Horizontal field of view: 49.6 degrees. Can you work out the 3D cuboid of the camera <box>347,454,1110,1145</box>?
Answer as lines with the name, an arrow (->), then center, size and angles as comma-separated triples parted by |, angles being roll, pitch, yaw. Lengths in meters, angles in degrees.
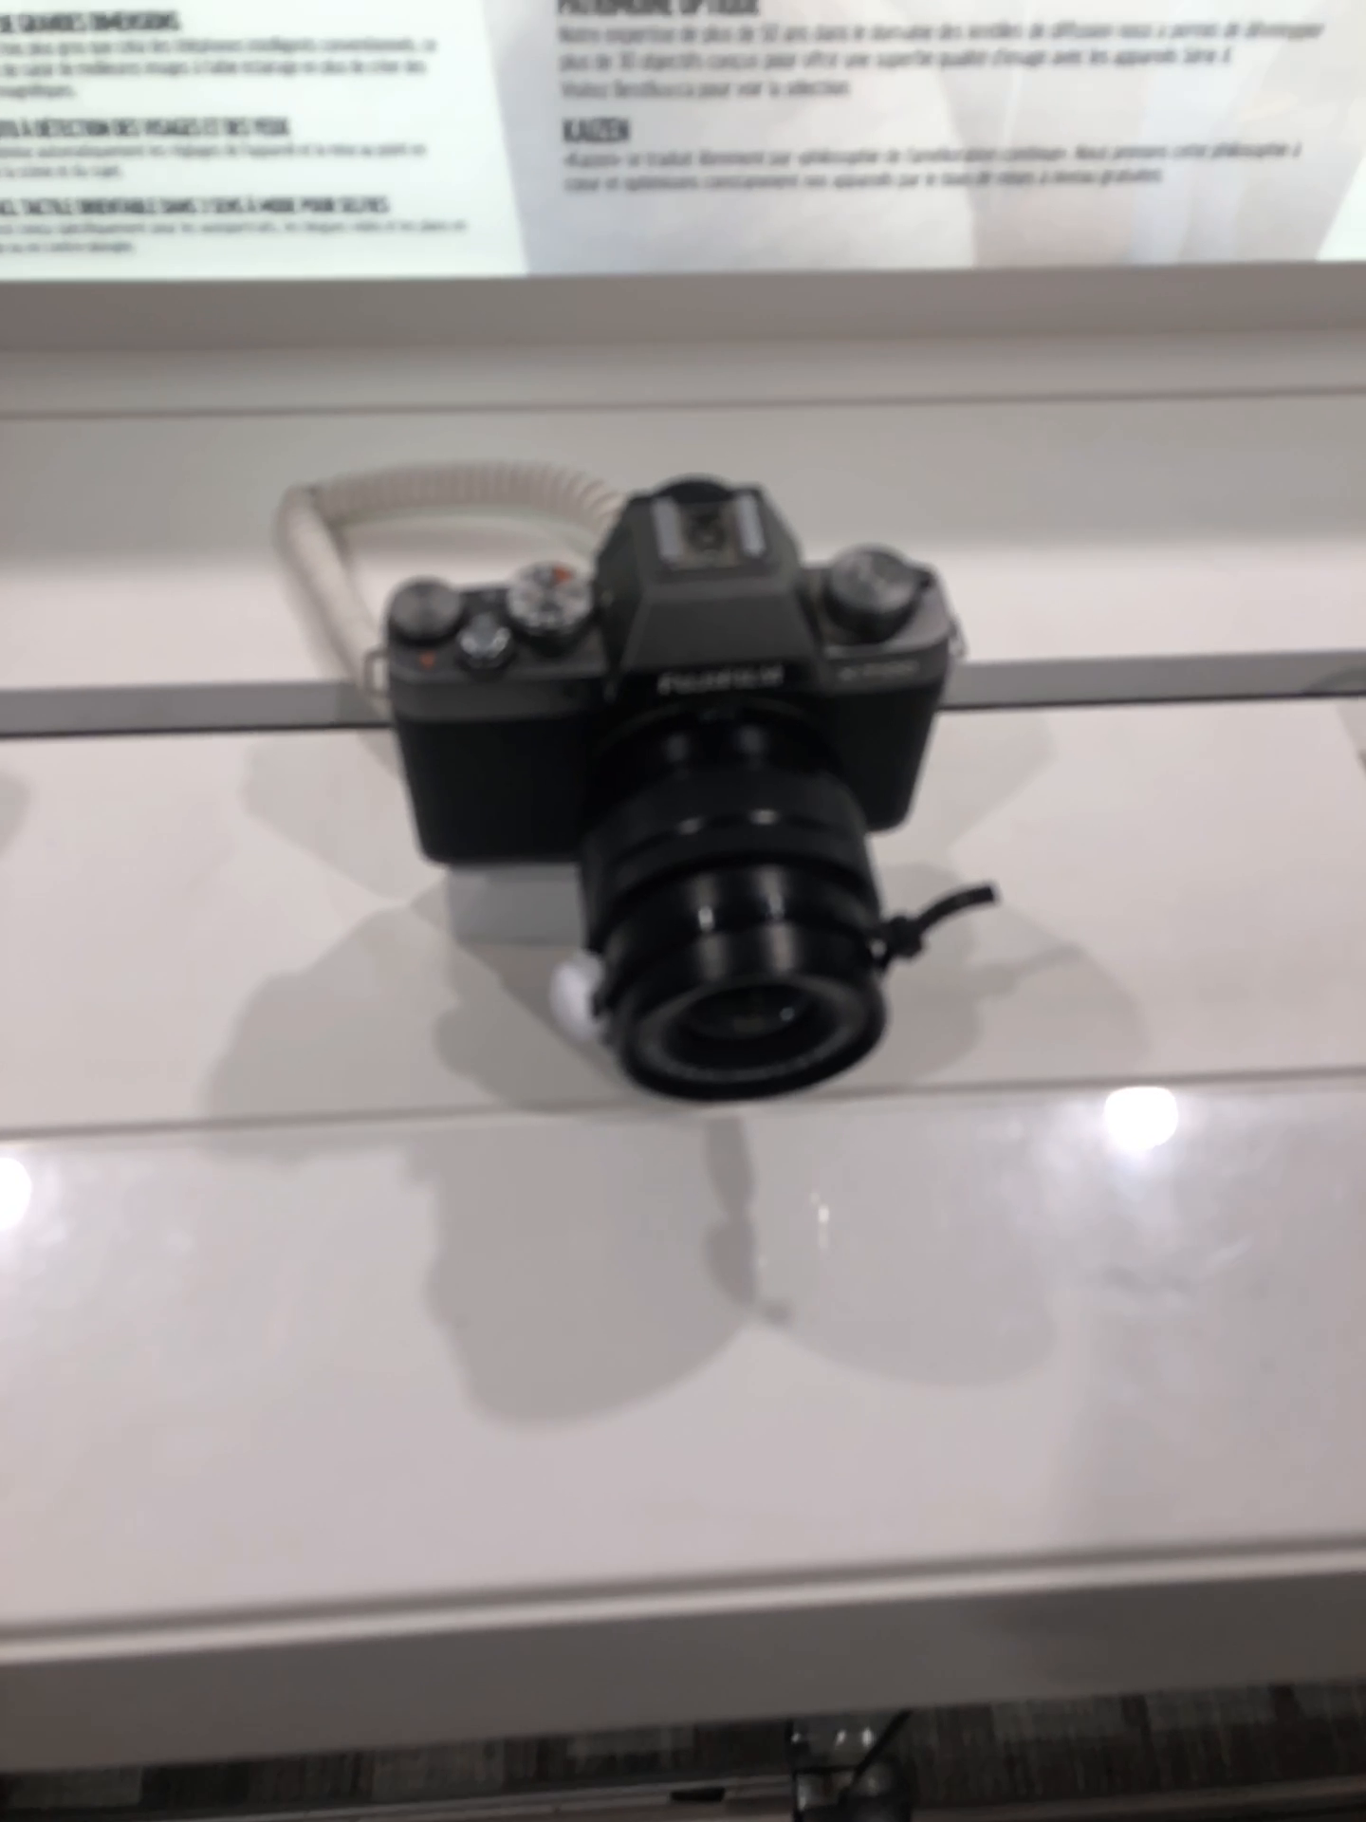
camera -> 0.004, -0.024, 0.323 | 0.130, 0.099, 0.108 | -2, 52, -3
